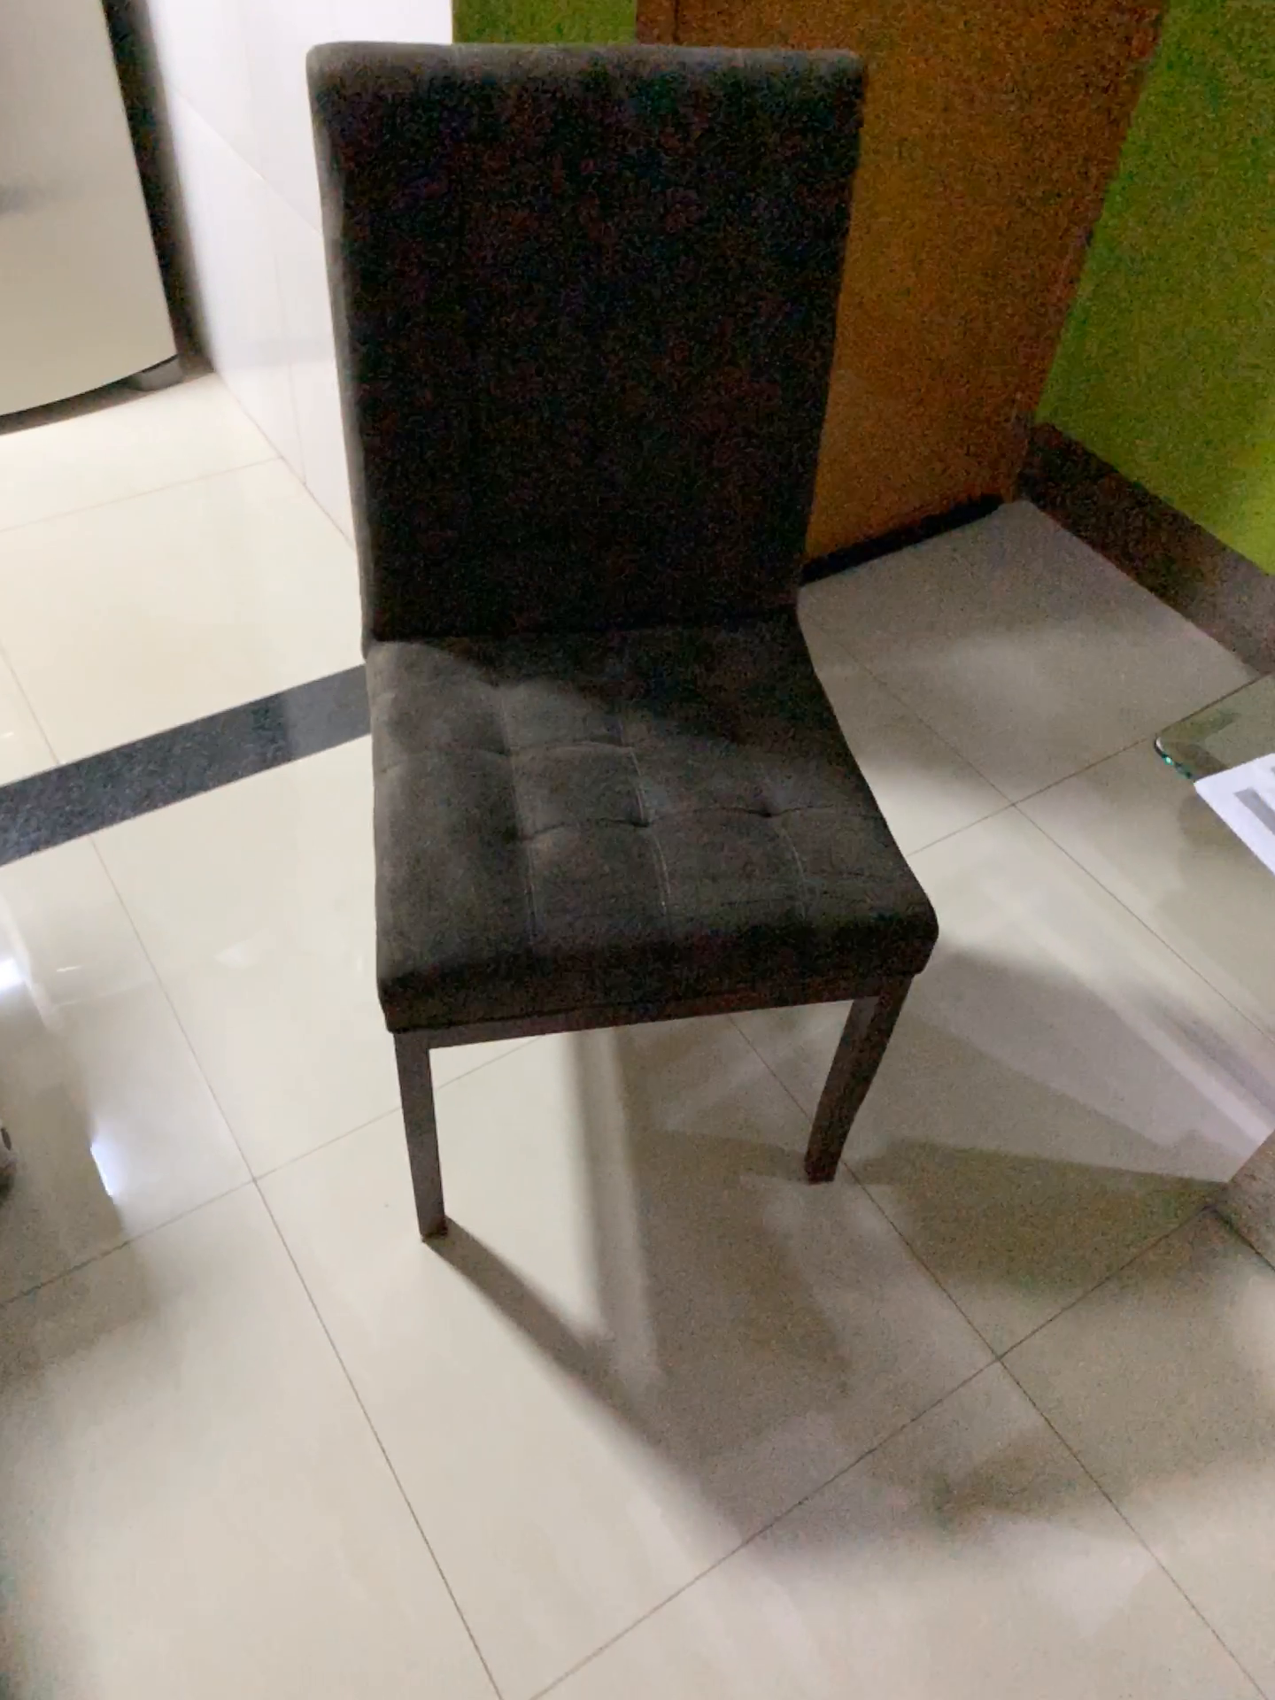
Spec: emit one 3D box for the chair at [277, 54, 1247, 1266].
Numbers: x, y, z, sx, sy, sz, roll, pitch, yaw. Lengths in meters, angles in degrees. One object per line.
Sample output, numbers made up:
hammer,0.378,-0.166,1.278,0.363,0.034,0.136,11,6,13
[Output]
chair,0.001,-0.118,1.244,0.540,0.972,0.575,-5,49,-10
